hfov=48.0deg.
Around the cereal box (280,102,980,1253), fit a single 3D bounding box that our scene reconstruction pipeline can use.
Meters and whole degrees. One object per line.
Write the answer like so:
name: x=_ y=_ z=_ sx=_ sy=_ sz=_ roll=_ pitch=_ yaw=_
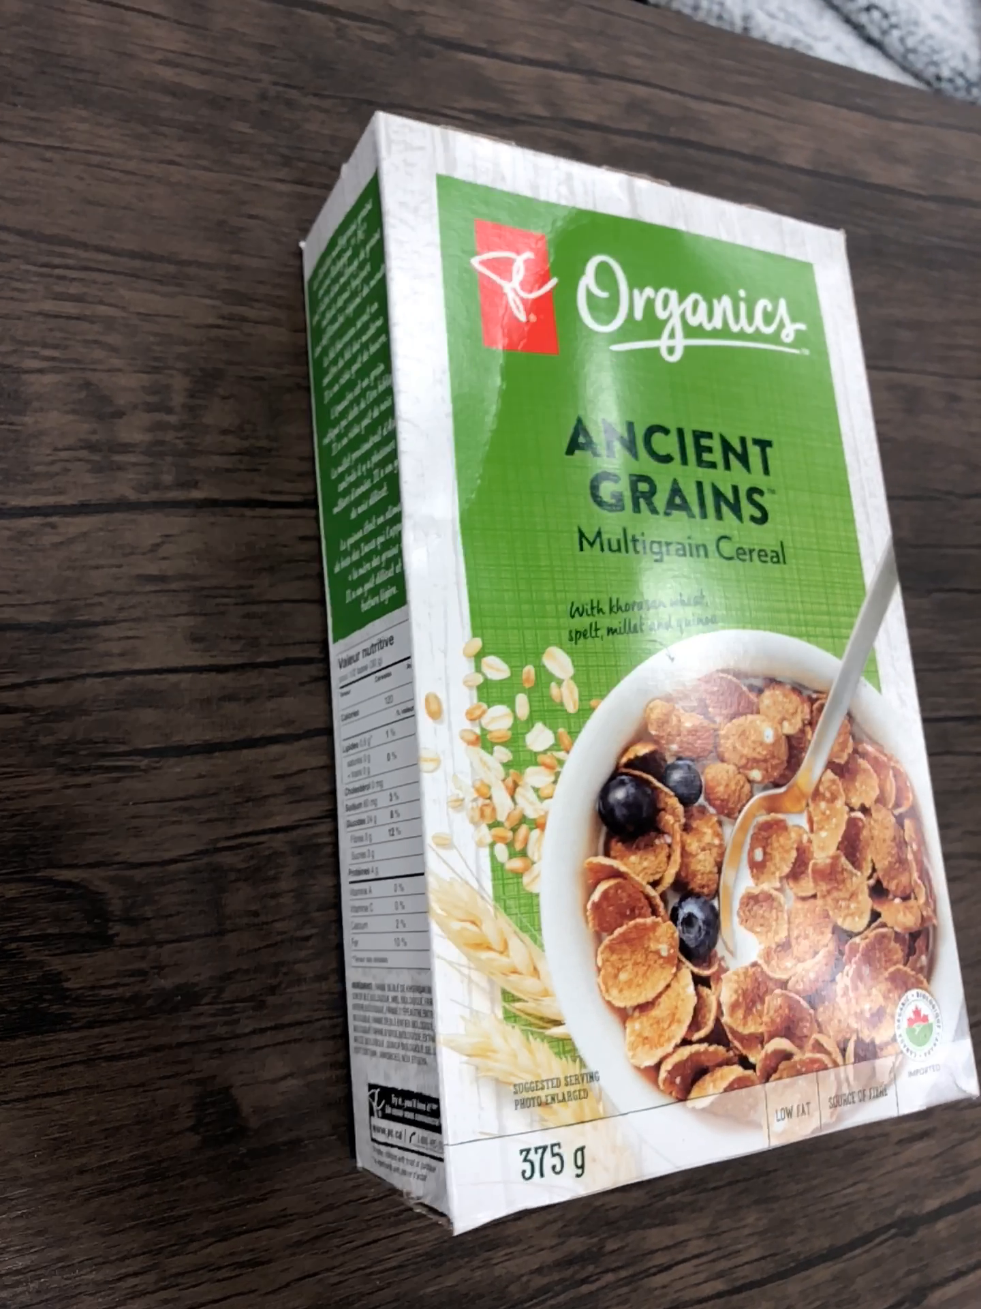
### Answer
cereal box: x=0.041 y=0.001 z=0.306 sx=0.171 sy=0.070 sz=0.250 roll=0 pitch=79 yaw=-27
